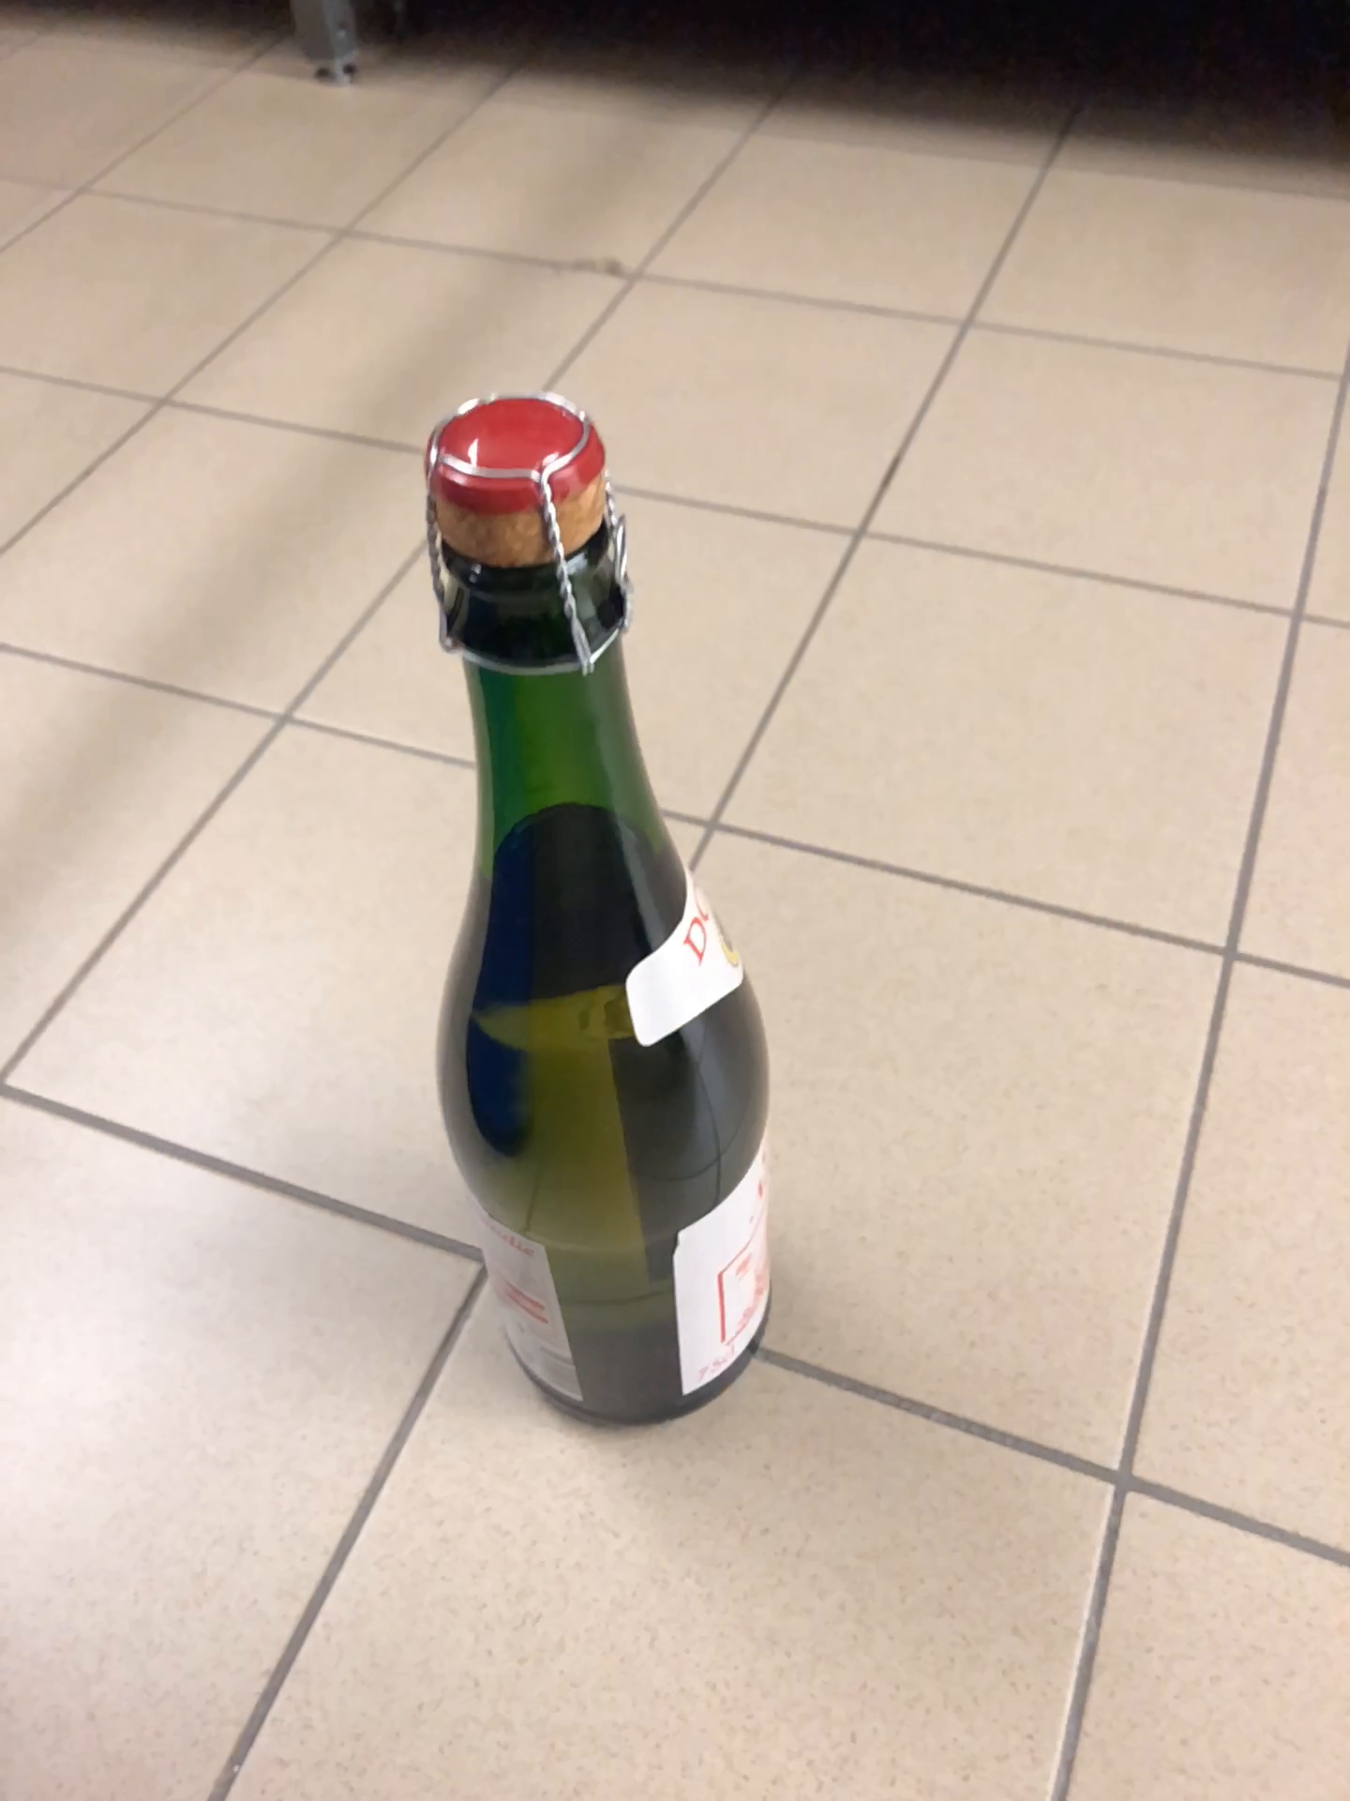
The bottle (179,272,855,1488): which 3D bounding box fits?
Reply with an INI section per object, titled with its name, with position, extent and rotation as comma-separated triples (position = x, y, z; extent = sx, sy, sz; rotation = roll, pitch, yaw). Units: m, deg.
[bottle]
position = -0.018, 0.025, 0.341
extent = 0.090, 0.288, 0.101
rotation = -7, 49, -2
